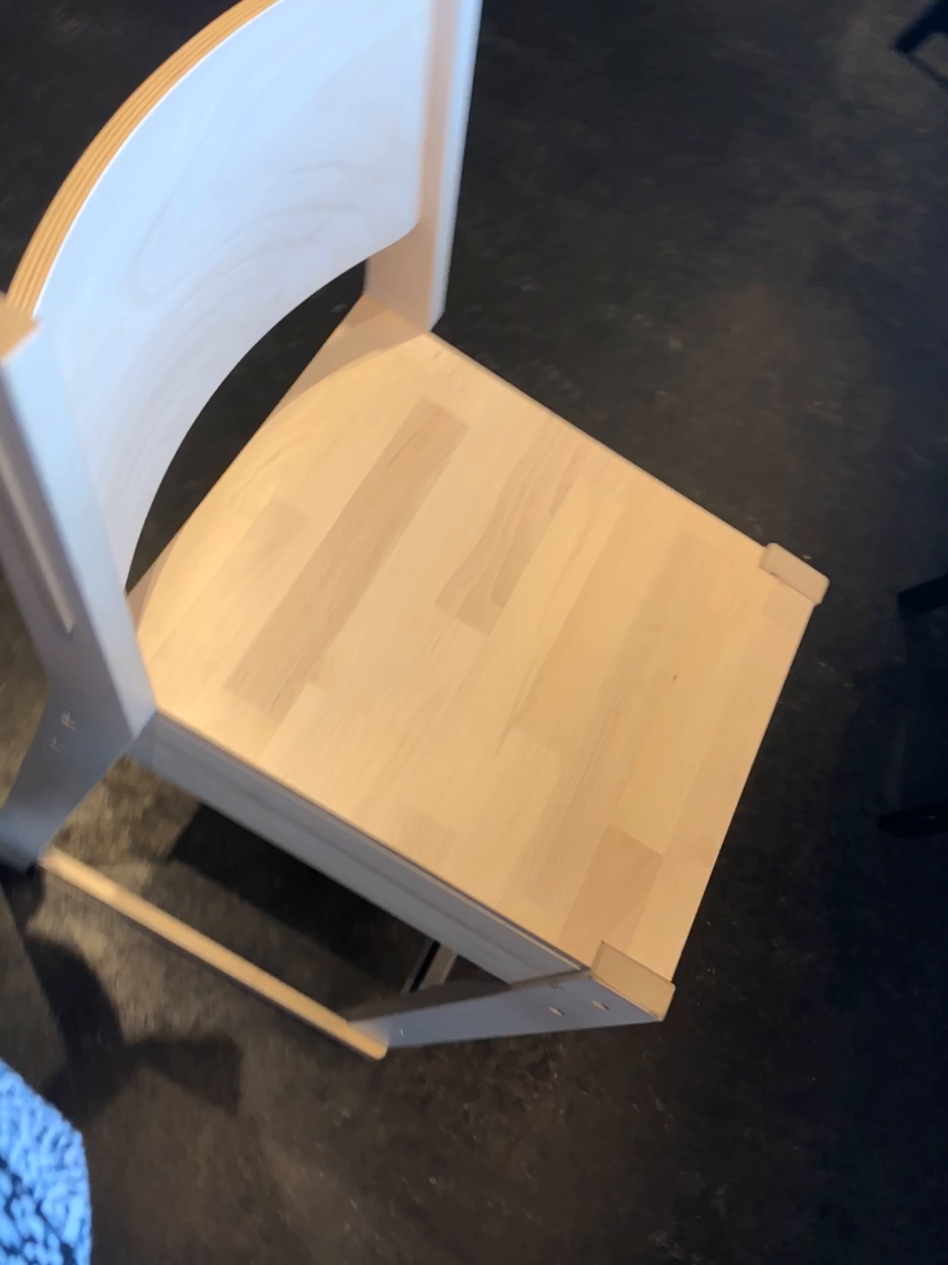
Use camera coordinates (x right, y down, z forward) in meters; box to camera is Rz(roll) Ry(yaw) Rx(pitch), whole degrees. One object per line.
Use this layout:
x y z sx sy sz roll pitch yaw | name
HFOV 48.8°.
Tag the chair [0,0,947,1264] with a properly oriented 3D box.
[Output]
-0.022 0.077 0.809 0.540 0.978 0.461 33 63 -5 | chair
